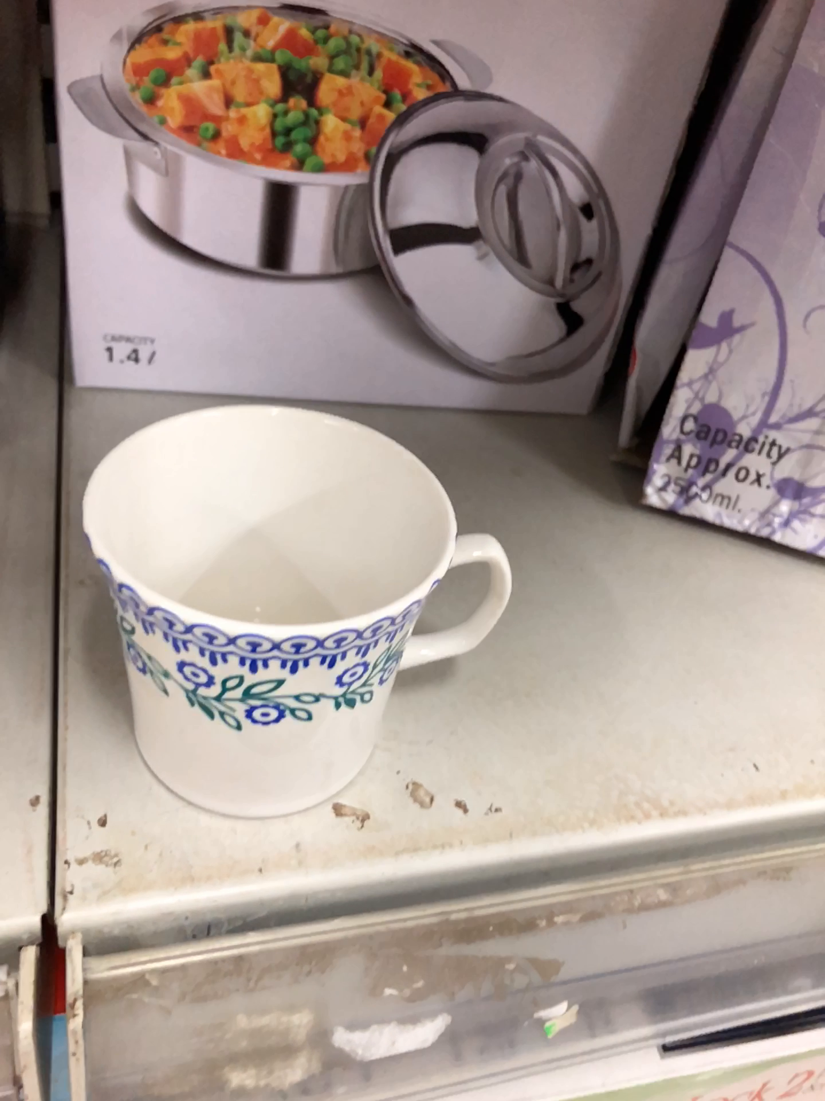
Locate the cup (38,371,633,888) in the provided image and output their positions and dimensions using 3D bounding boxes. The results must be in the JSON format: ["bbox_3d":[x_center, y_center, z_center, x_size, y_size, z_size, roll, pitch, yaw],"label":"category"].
[{"bbox_3d":[-0.022,0.011,0.203,0.100,0.070,0.070,-7,43,-23],"label":"cup"}]
